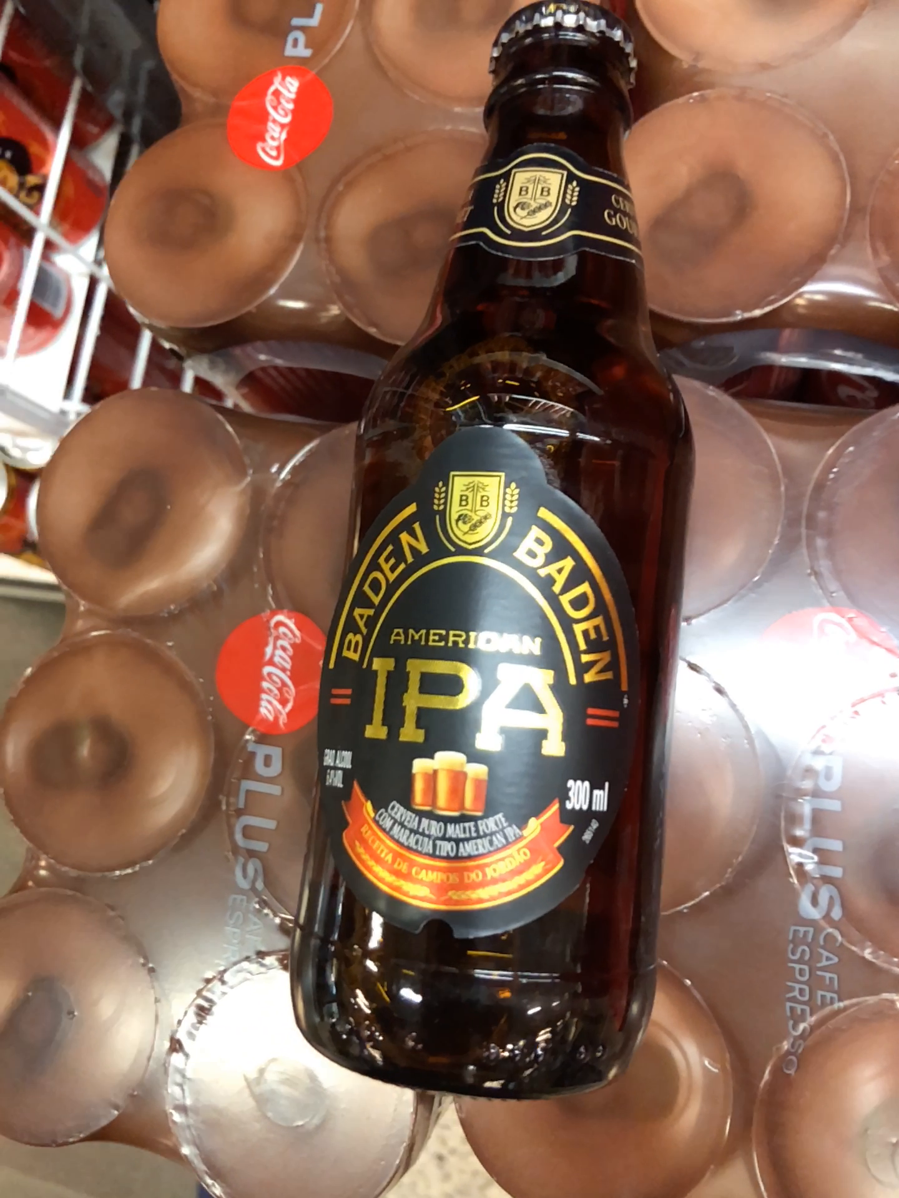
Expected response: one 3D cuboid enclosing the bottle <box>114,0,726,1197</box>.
[{"bbox_3d":[0.003,-0.026,0.173,0.070,0.050,0.210,4,81,13],"label":"bottle"}]
